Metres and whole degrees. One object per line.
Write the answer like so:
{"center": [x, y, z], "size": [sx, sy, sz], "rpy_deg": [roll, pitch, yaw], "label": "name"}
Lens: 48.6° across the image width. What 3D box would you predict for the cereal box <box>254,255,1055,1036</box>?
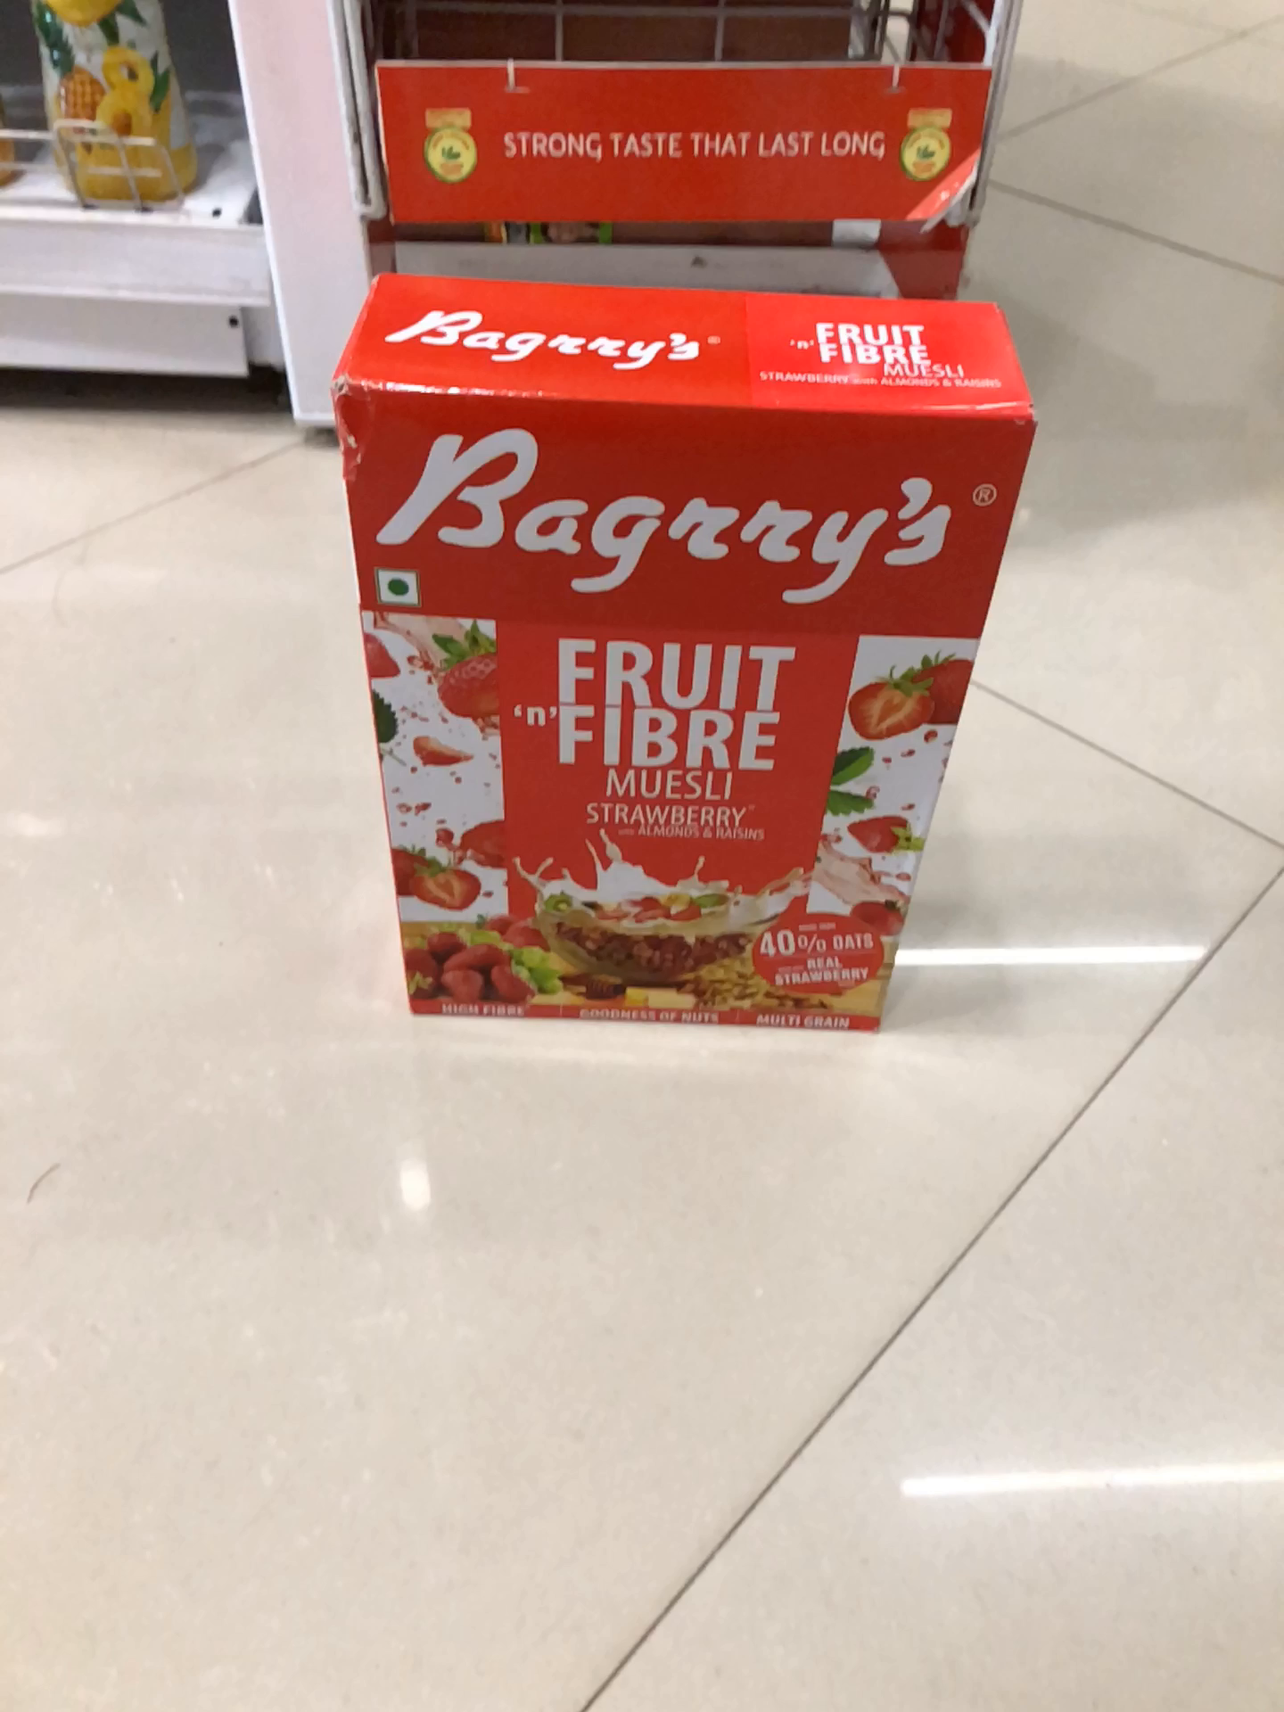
{"center": [-0.001, -0.051, 0.471], "size": [0.200, 0.258, 0.070], "rpy_deg": [2, 45, -1], "label": "cereal box"}
